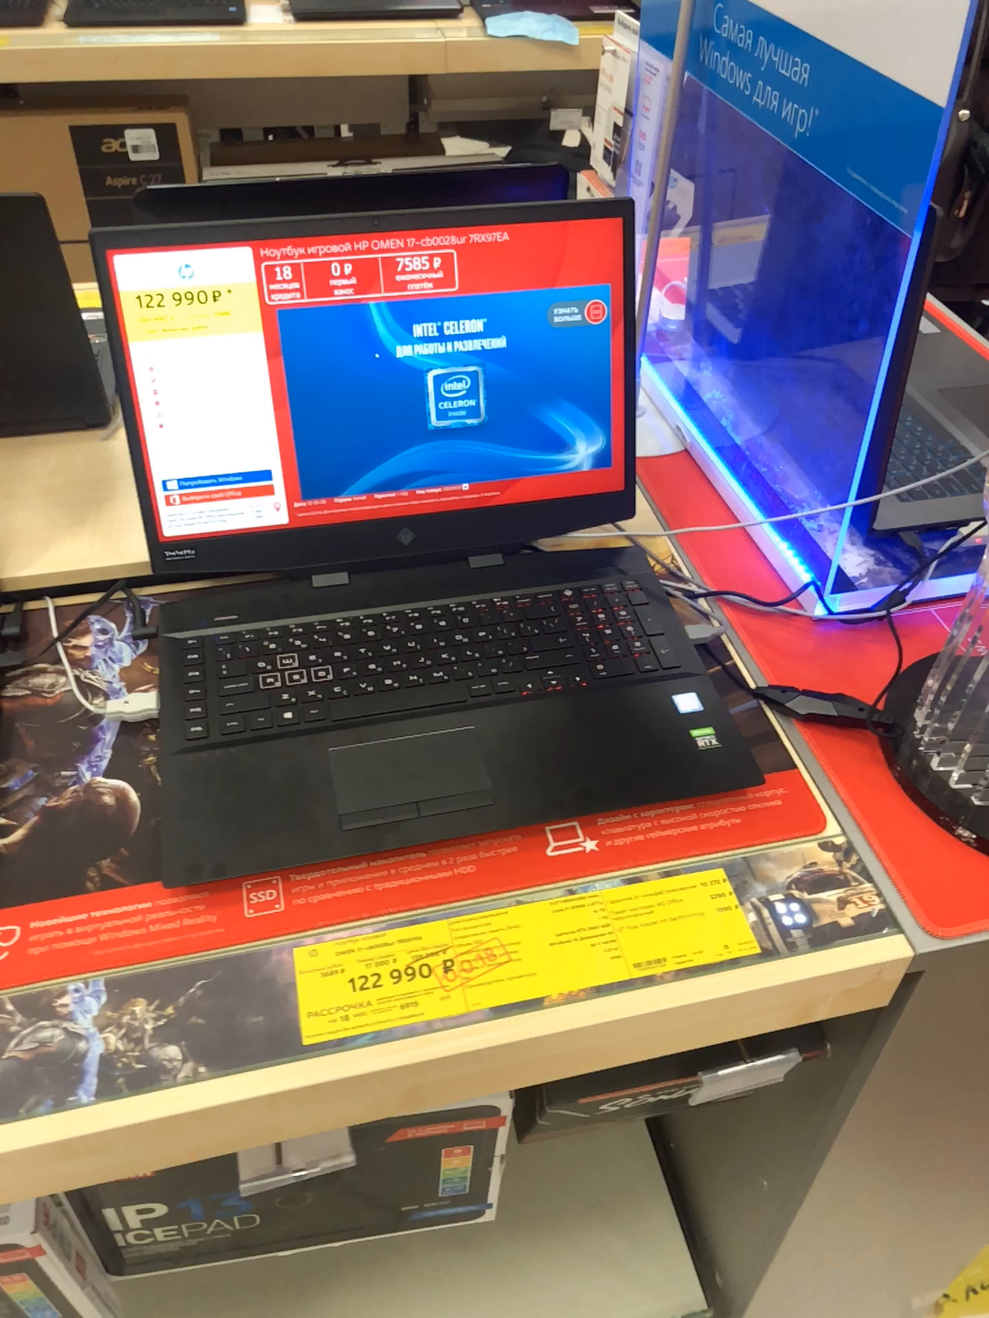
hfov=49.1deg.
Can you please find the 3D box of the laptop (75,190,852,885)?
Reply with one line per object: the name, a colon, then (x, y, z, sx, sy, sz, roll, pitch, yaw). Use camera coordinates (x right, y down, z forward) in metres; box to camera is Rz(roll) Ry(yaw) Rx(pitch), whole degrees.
laptop: (-0.048, -0.111, 0.747, 0.391, 0.246, 0.377, -8, 44, -10)
